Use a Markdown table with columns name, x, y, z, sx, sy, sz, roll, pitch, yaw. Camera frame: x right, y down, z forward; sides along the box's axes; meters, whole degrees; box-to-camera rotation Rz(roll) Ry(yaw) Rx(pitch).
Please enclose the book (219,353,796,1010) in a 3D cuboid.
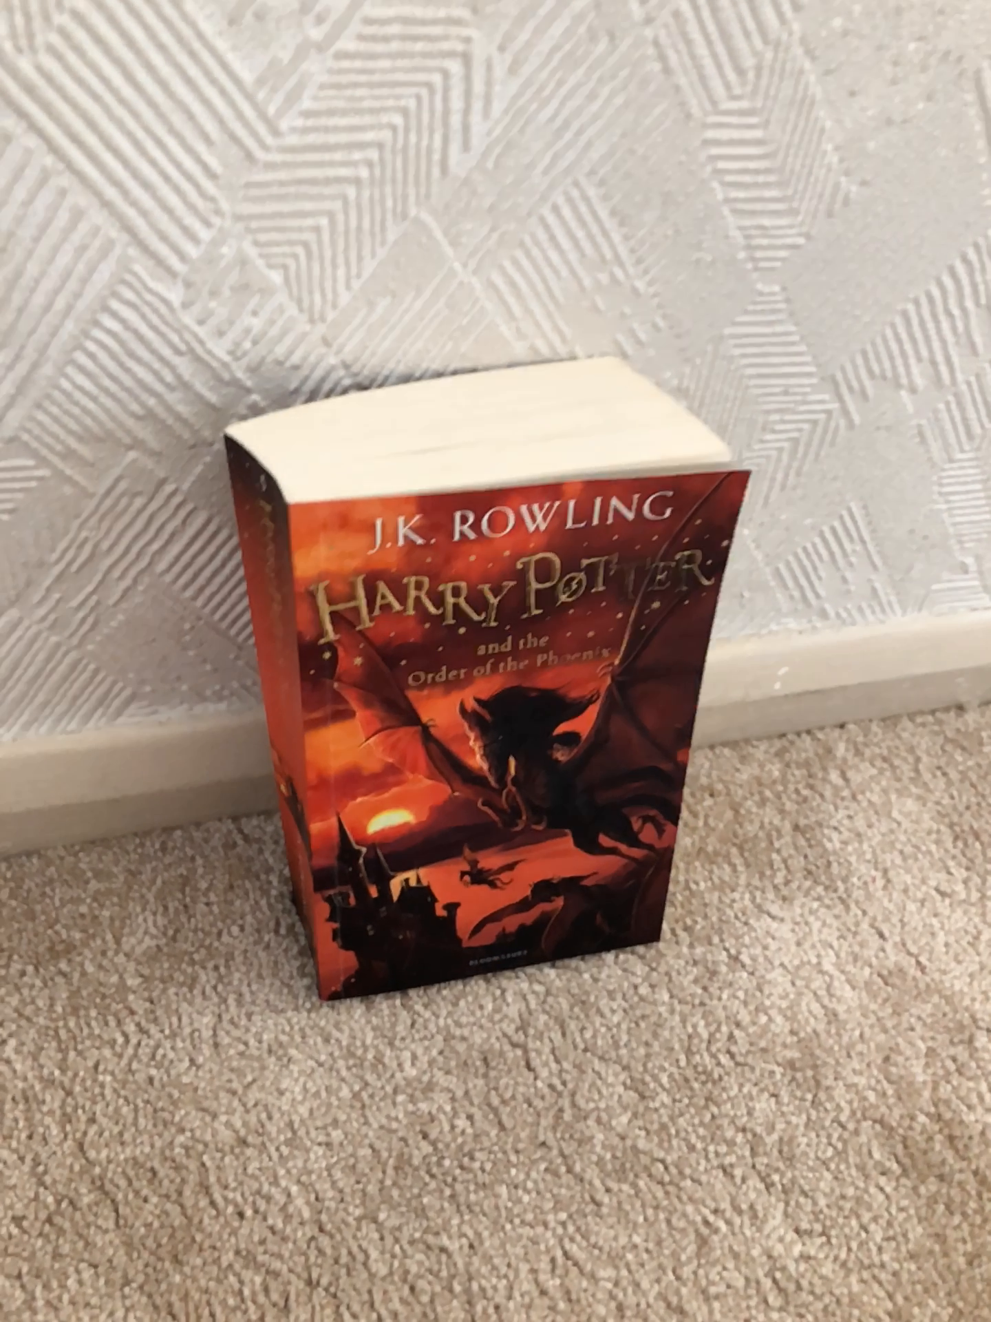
| name | x | y | z | sx | sy | sz | roll | pitch | yaw |
| --- | --- | --- | --- | --- | --- | --- | --- | --- | --- |
| book | -0.006 | 0.008 | 0.372 | 0.147 | 0.189 | 0.092 | -6 | 38 | -13 |
